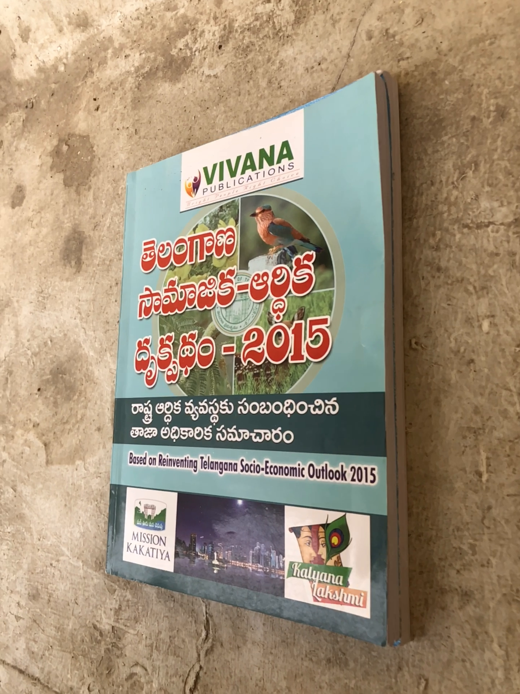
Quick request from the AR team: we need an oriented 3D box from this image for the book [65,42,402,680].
[{"bbox_3d":[-0.024,0.003,0.314,0.201,0.030,0.270,-4,80,37],"label":"book"}]
